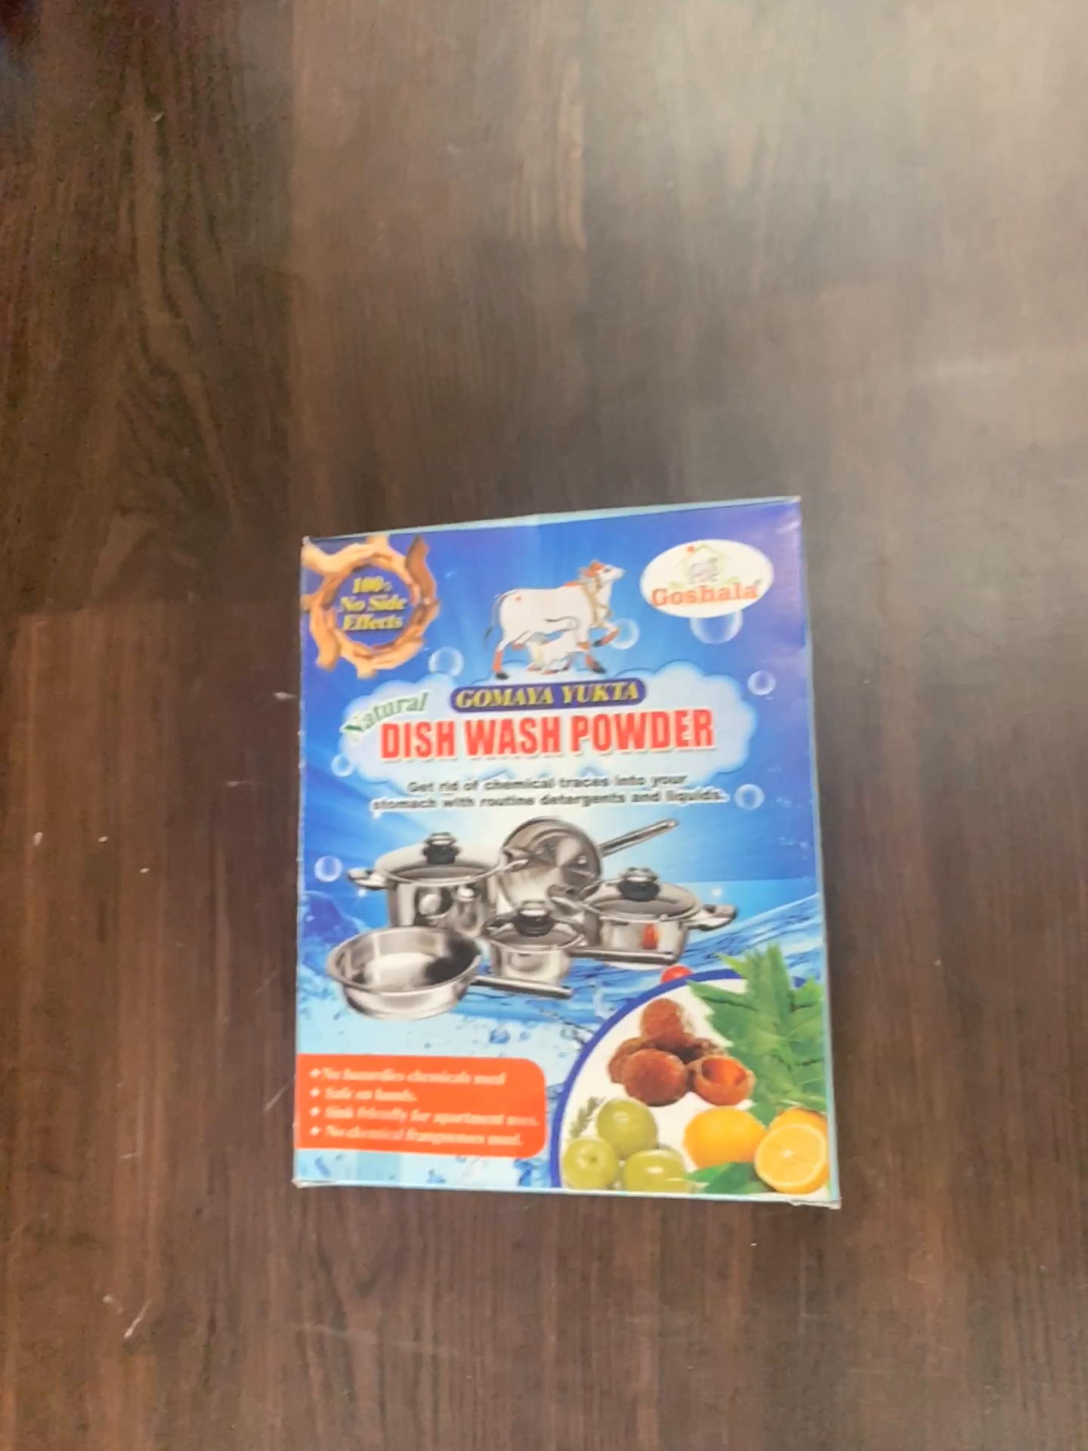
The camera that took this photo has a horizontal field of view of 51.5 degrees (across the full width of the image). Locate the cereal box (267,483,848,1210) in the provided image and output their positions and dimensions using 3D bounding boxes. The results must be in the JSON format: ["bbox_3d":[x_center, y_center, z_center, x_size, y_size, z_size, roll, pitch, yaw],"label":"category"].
[{"bbox_3d":[0.005,0.032,0.309,0.140,0.060,0.170,-3,80,13],"label":"cereal box"}]
